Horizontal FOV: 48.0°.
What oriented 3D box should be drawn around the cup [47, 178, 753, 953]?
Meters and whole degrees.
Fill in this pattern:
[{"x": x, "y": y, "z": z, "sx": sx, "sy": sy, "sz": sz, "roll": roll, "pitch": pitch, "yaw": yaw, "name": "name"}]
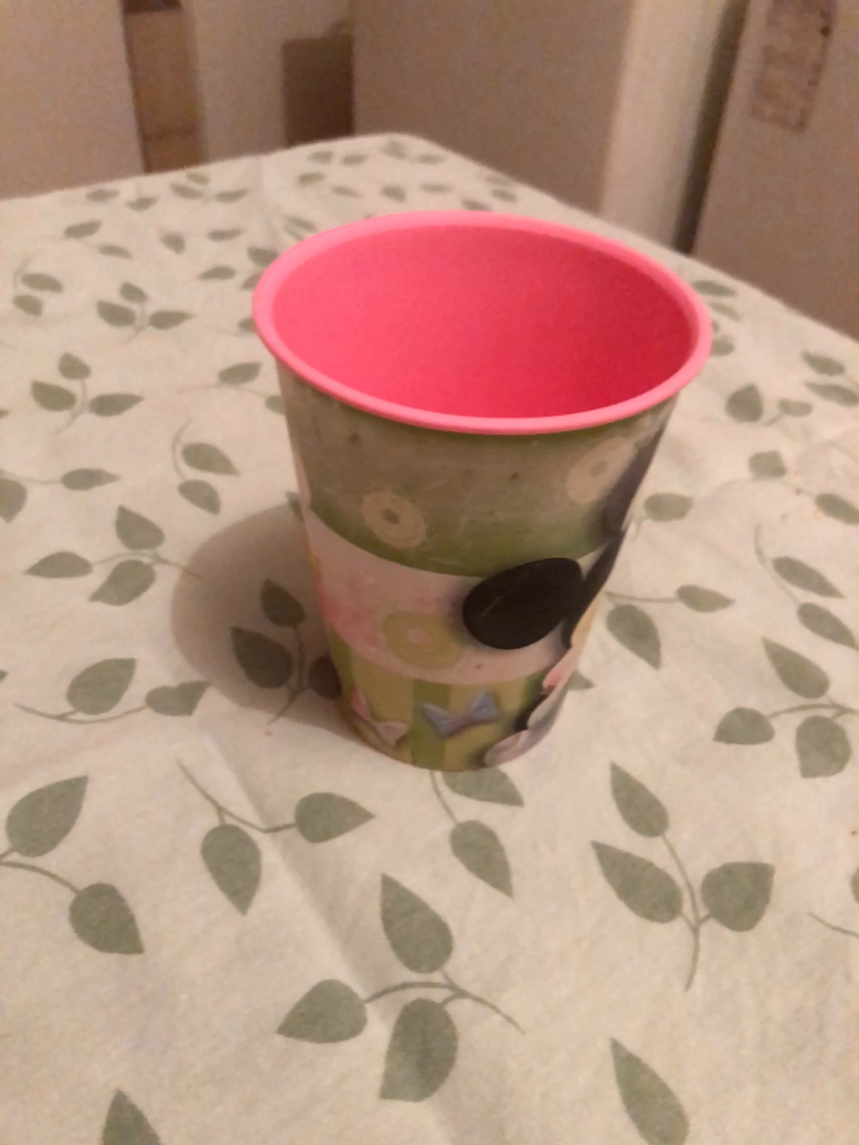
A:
[{"x": -0.002, "y": -0.006, "z": 0.224, "sx": 0.100, "sy": 0.119, "sz": 0.101, "roll": 2, "pitch": 42, "yaw": -2, "name": "cup"}]
